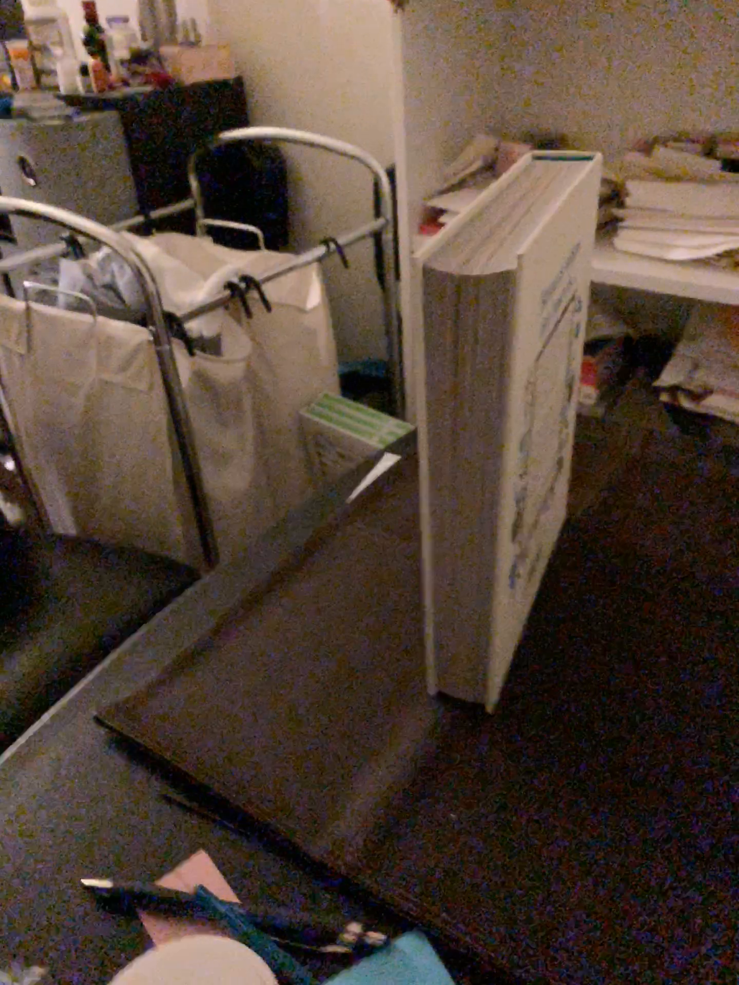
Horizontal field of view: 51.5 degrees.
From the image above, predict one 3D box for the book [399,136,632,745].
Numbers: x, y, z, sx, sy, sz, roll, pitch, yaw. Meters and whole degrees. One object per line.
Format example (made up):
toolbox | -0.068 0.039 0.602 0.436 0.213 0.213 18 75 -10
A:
book | 0.086 -0.035 0.429 0.050 0.268 0.211 12 36 23
